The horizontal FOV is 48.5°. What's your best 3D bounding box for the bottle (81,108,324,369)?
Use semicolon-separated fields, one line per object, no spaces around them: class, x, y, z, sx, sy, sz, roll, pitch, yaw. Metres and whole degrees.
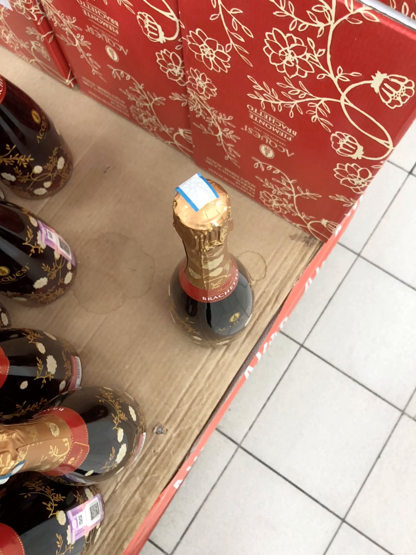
bottle;0.000;-0.001;0.400;0.100;0.280;0.100;0;75;2
